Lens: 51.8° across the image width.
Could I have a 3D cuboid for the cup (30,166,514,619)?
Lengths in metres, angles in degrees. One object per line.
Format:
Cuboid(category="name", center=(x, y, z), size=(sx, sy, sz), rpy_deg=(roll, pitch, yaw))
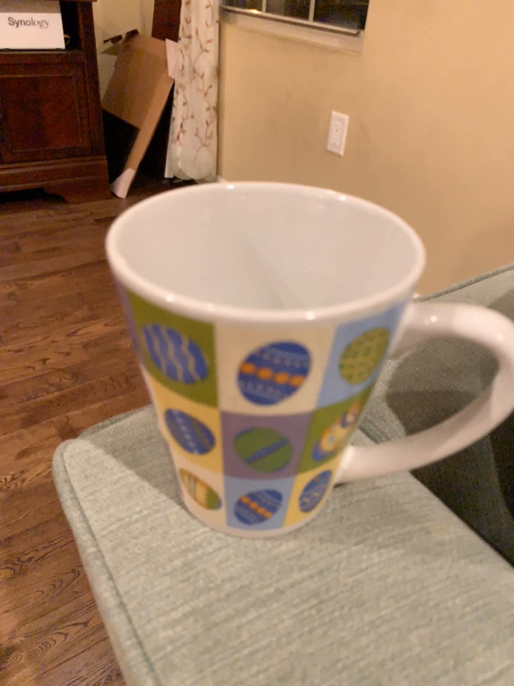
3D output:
Cuboid(category="cup", center=(0.017, 0.006, 0.171), size=(0.123, 0.087, 0.096), rpy_deg=(8, 35, 7))
